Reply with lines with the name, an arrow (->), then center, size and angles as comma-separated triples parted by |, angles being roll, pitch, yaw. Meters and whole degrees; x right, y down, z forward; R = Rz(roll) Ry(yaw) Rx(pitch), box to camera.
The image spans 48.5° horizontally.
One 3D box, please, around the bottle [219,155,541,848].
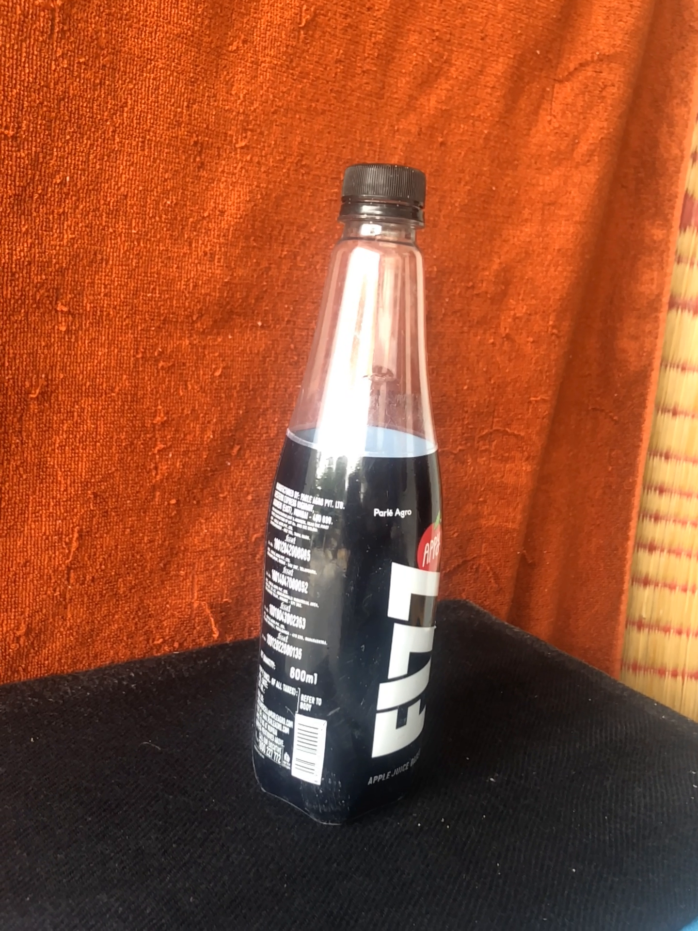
bottle -> 0.010, 0.011, 0.282 | 0.060, 0.219, 0.070 | 15, 14, 29
